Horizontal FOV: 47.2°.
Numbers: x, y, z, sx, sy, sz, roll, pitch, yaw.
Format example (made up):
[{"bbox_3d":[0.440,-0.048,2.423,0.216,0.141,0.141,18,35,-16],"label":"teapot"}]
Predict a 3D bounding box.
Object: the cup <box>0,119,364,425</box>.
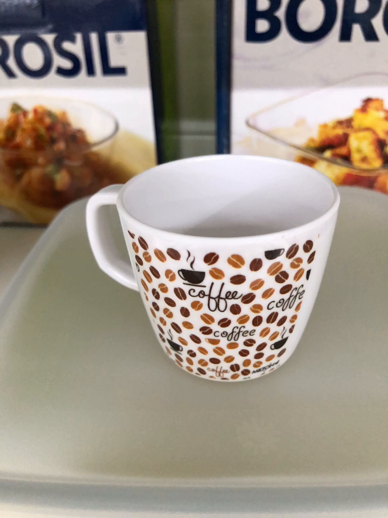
[{"bbox_3d":[0.000,-0.005,0.128,0.080,0.050,0.060,11,33,21],"label":"cup"}]
